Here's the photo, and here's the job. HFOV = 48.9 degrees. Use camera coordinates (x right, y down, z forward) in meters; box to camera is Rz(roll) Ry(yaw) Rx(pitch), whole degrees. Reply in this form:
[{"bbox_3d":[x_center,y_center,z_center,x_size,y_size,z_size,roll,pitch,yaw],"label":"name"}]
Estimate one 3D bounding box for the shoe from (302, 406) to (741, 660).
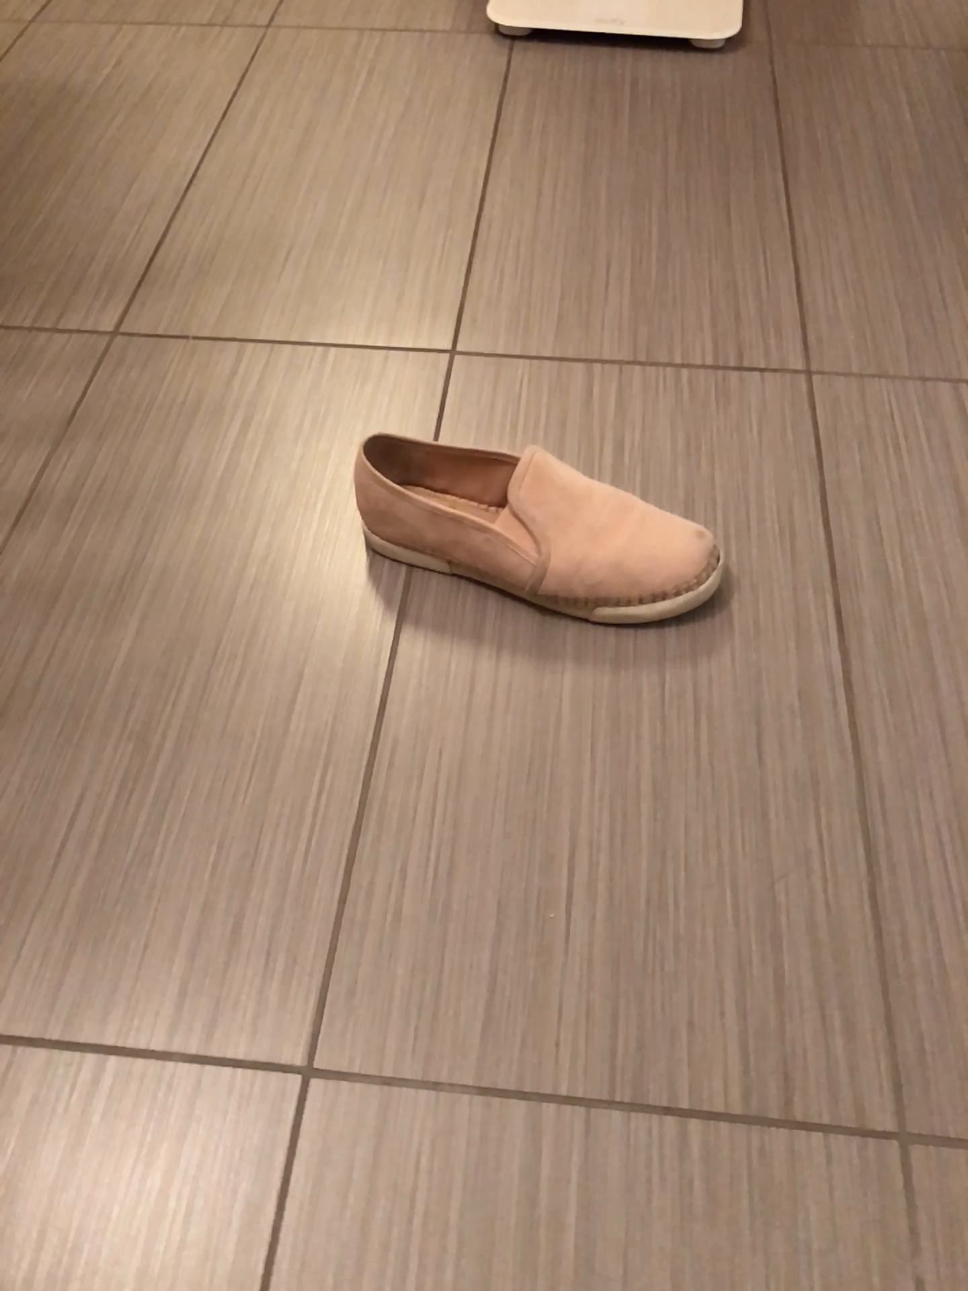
[{"bbox_3d":[0.027,-0.080,0.726,0.270,0.070,0.111,11,54,10],"label":"shoe"}]
